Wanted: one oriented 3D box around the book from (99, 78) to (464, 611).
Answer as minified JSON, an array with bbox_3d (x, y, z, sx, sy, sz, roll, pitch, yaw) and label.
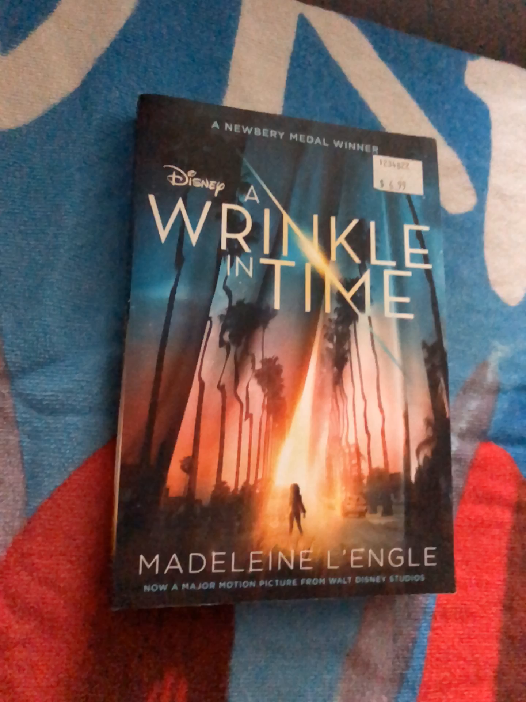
[{"bbox_3d":[0.012,-0.002,0.242,0.138,0.031,0.195,4,81,-13],"label":"book"}]
